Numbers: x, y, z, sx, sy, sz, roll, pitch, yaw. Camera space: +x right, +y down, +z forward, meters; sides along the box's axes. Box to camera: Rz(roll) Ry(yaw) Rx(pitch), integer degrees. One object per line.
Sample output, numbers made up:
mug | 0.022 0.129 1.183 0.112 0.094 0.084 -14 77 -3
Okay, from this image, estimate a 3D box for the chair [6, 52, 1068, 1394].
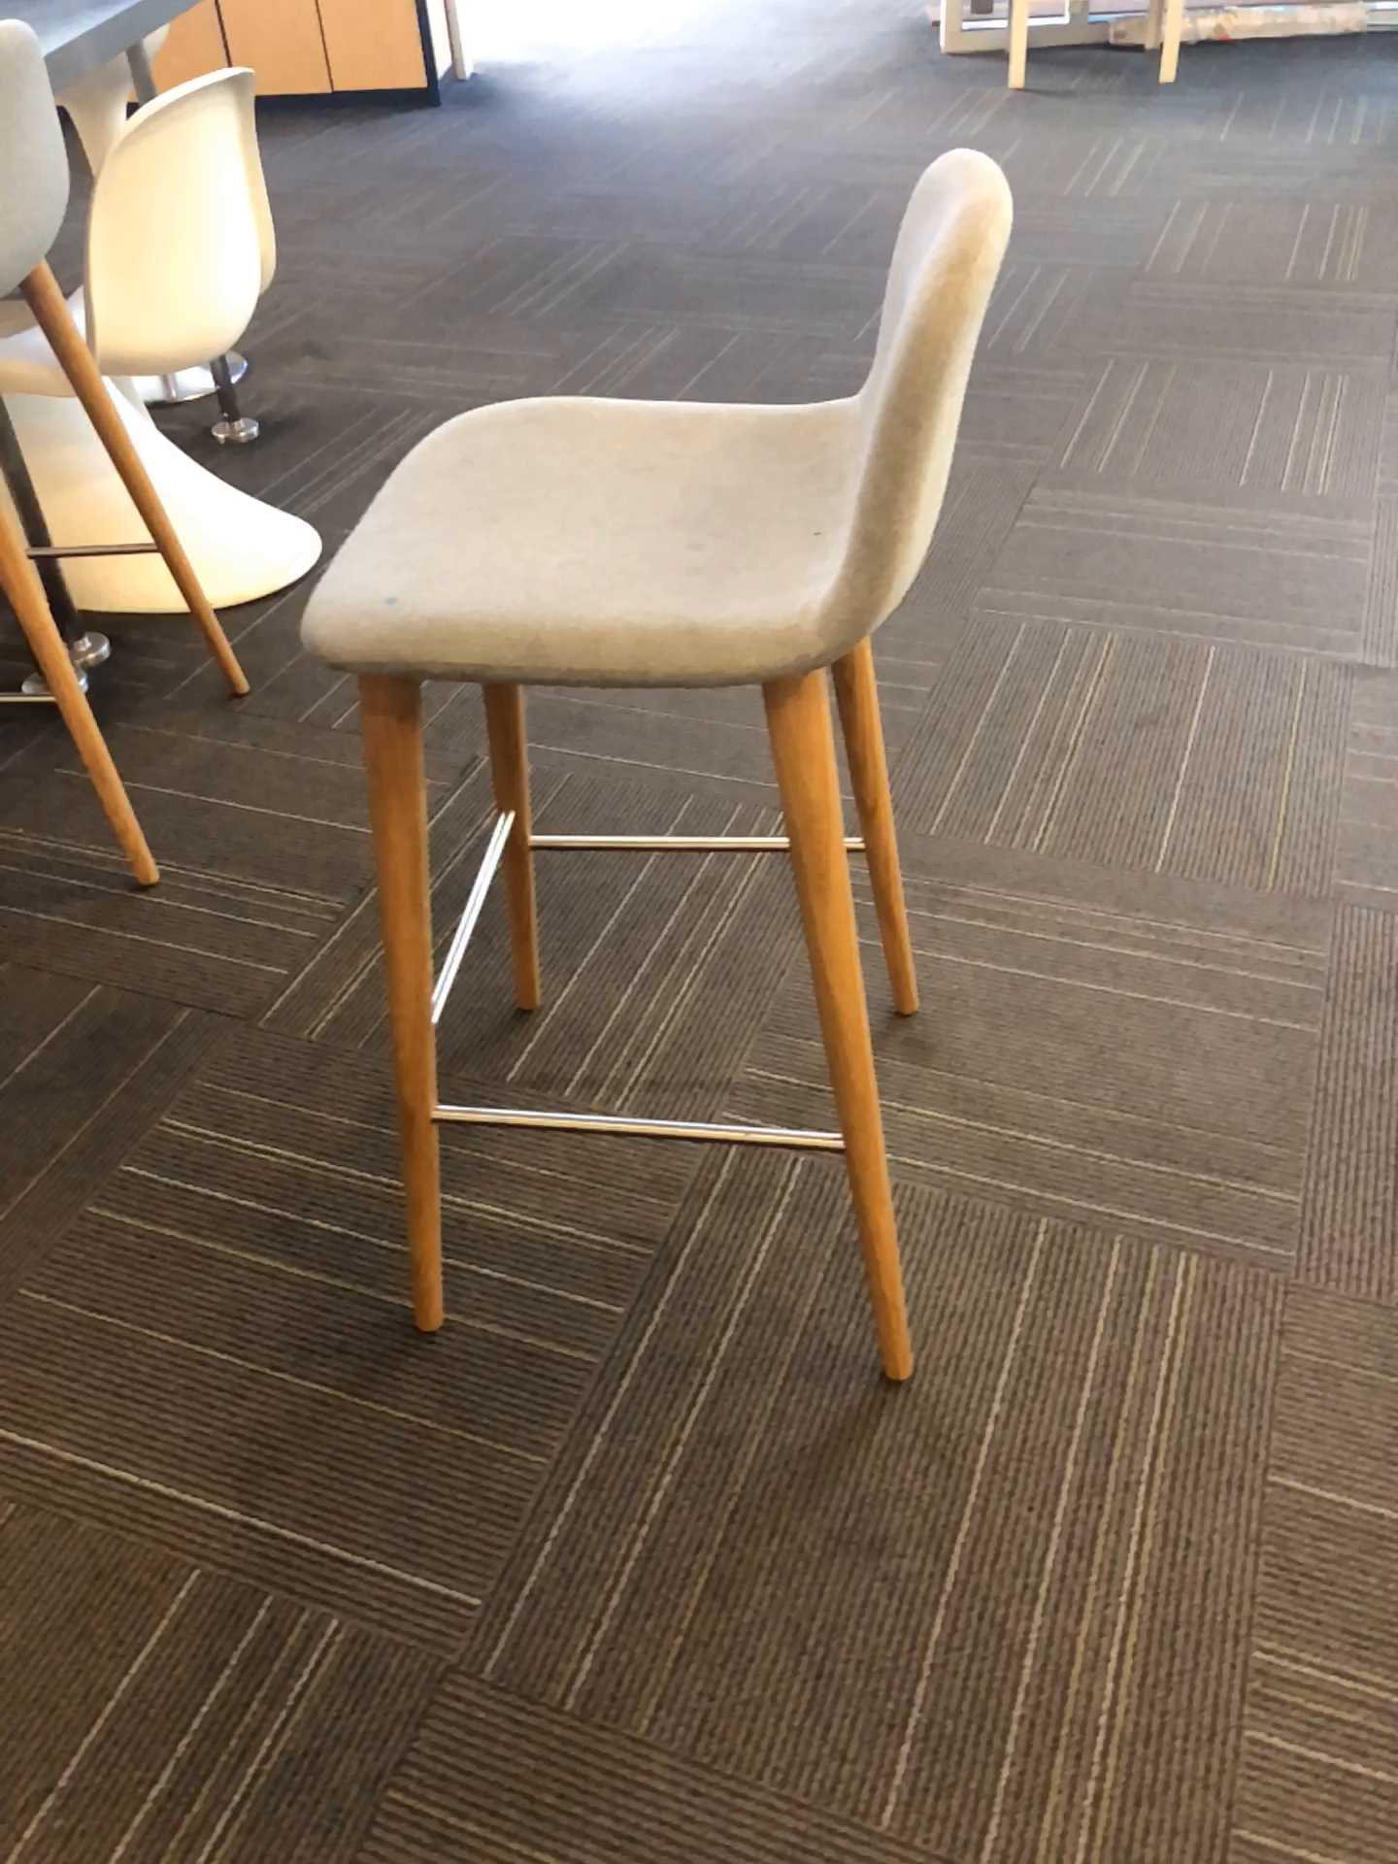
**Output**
chair | -0.042 -0.148 1.310 0.560 0.945 0.573 0 37 6
